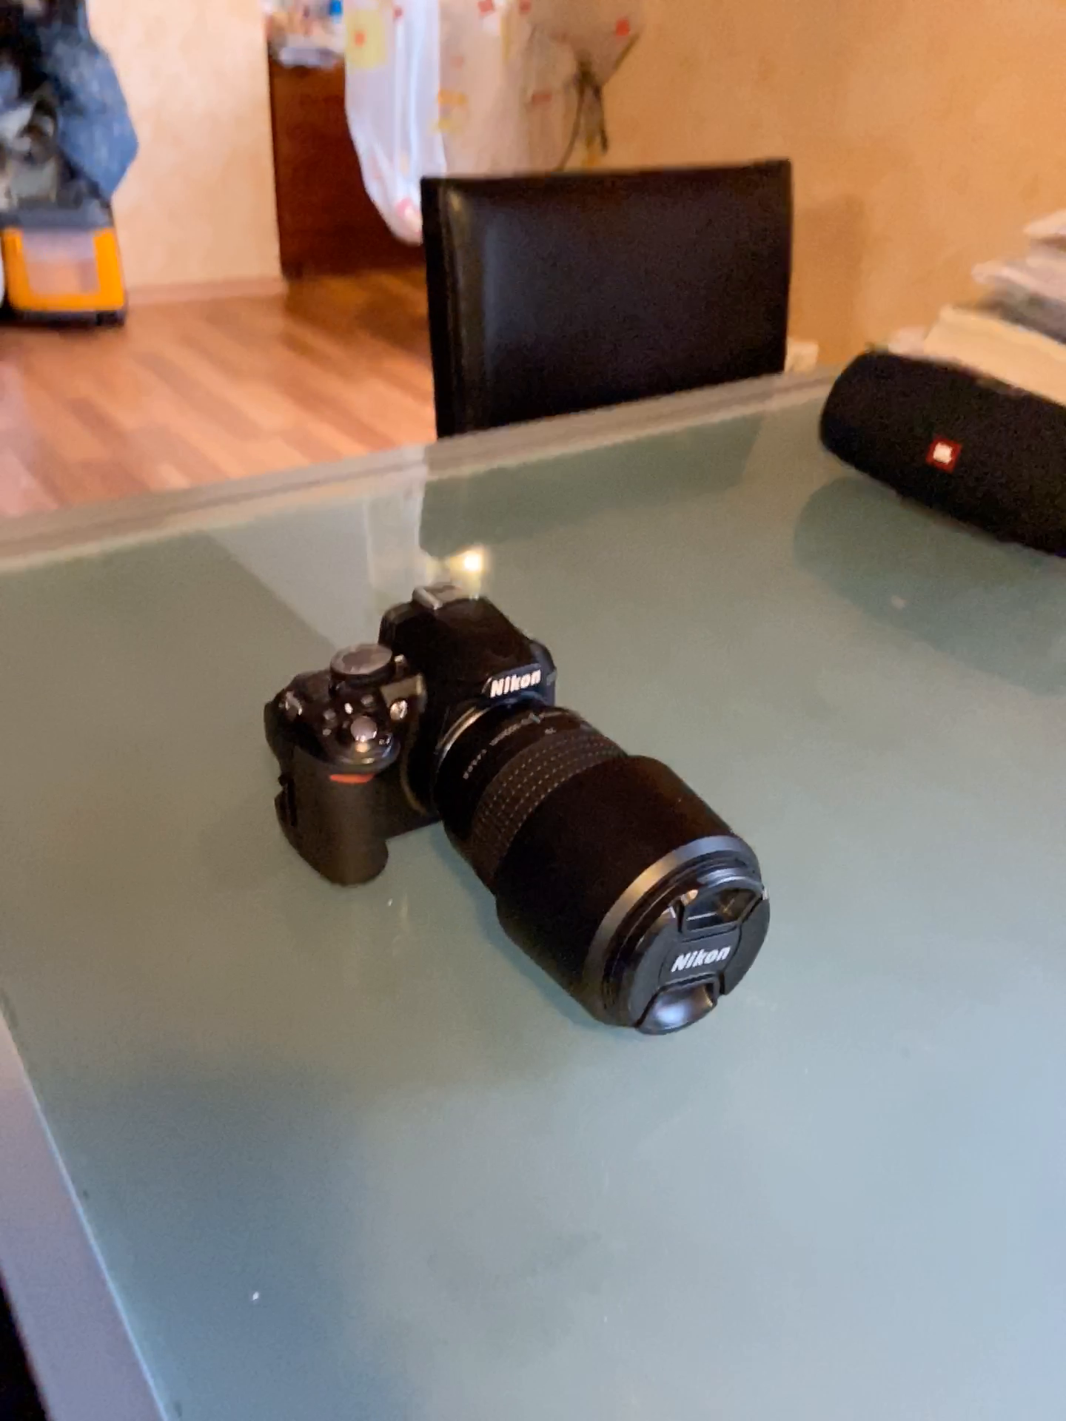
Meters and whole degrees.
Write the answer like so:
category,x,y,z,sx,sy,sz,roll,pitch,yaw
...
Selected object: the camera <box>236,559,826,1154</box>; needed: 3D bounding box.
category,x,y,z,sx,sy,sz,roll,pitch,yaw
camera,-0.012,0.037,0.411,0.124,0.094,0.189,-18,41,-30
